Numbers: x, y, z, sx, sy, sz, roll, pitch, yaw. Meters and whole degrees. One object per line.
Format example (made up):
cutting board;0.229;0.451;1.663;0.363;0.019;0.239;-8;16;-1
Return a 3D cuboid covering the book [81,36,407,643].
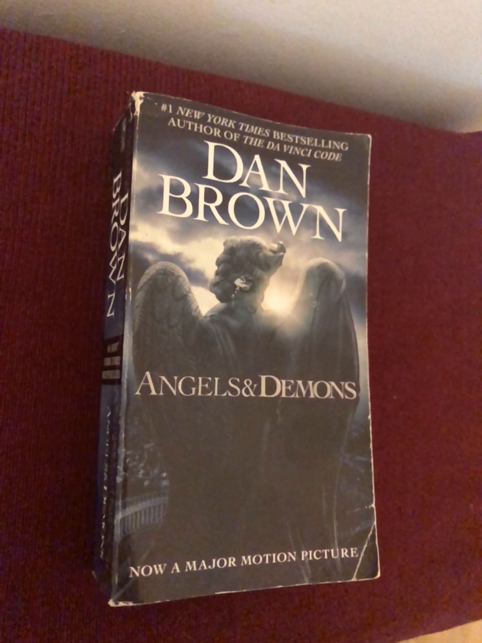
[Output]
book;0.002;0.004;0.223;0.120;0.040;0.210;3;81;-19
